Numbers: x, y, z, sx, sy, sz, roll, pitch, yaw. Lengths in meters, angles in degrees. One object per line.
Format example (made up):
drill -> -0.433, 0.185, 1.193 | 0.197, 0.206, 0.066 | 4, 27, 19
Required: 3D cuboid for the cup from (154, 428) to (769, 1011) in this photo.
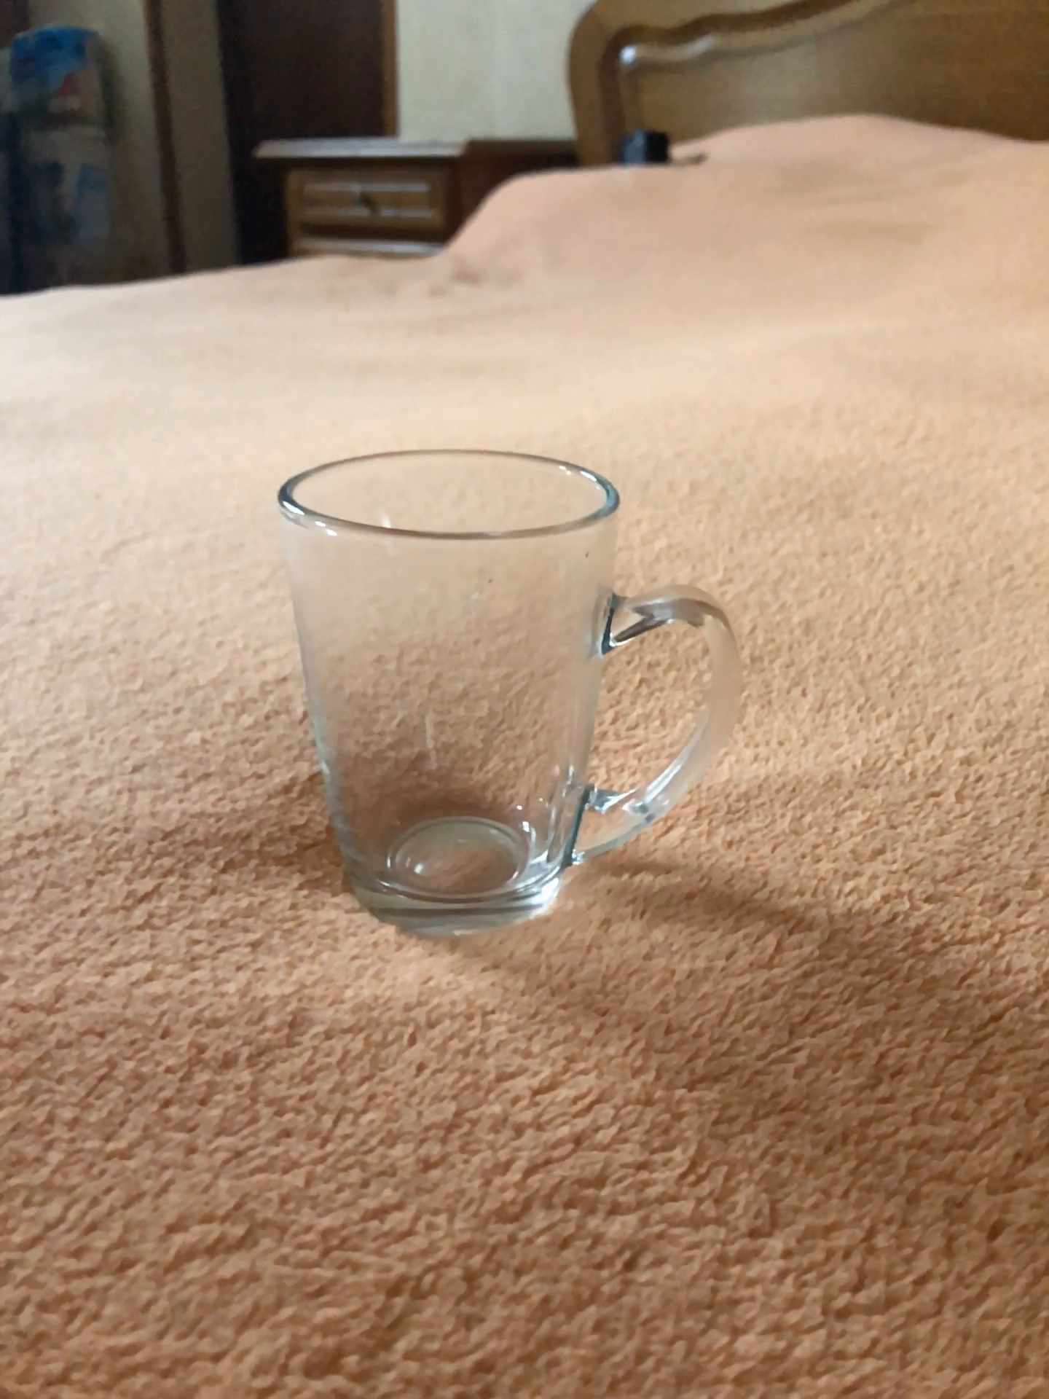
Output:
cup -> -0.007, -0.001, 0.237 | 0.100, 0.090, 0.070 | 4, 24, 7
